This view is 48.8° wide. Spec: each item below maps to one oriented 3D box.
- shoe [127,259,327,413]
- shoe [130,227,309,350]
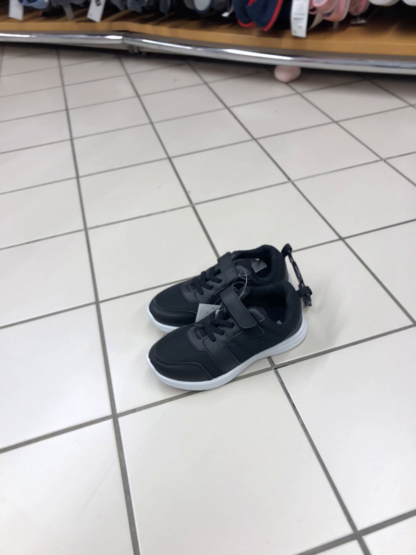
[{"bbox_3d":[0.026,0.066,0.575,0.222,0.064,0.098,-22,44,-17],"label":"shoe"},{"bbox_3d":[0.015,0.011,0.639,0.222,0.064,0.098,-17,42,-12],"label":"shoe"}]
